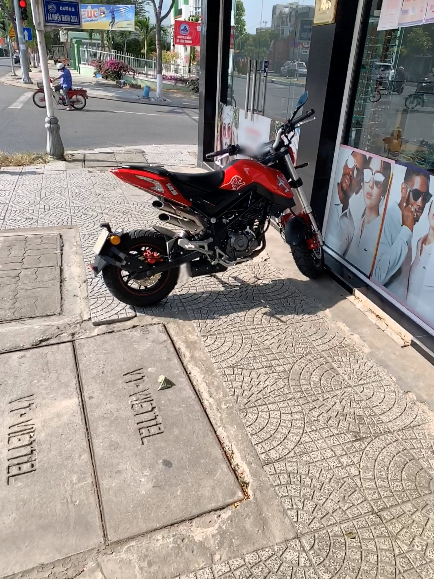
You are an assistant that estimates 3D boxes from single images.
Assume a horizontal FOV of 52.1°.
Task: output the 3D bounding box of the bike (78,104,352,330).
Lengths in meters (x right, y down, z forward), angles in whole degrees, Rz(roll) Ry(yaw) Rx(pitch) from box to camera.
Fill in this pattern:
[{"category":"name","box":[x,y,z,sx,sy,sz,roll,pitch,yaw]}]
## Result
[{"category":"bike","box":[0.057,-0.734,3.441,2.124,1.216,0.834,-16,32,-35]}]
